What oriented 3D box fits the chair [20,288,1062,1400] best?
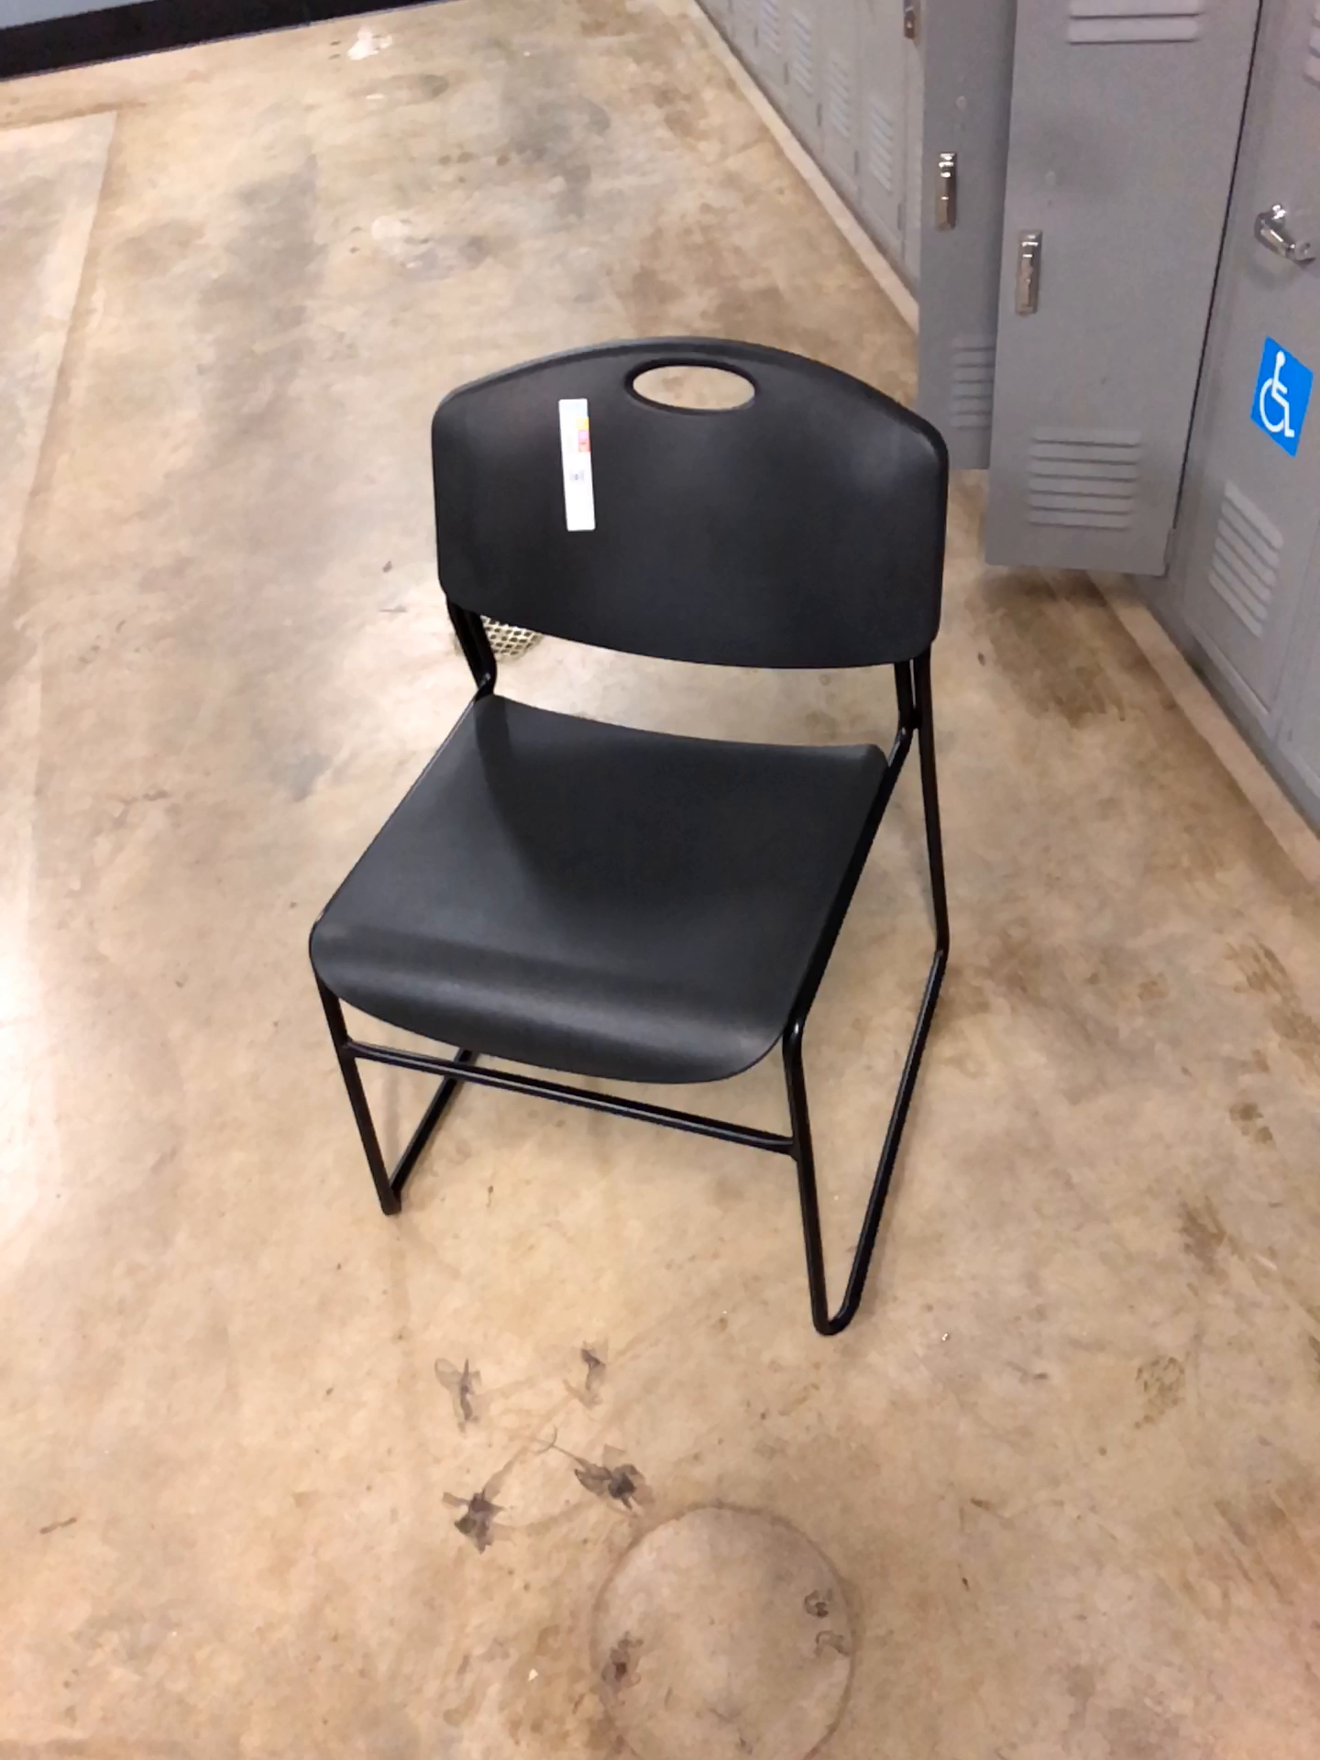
[{"bbox_3d":[-0.014,-0.036,1.226,0.544,0.666,0.548,11,49,18],"label":"chair"}]
